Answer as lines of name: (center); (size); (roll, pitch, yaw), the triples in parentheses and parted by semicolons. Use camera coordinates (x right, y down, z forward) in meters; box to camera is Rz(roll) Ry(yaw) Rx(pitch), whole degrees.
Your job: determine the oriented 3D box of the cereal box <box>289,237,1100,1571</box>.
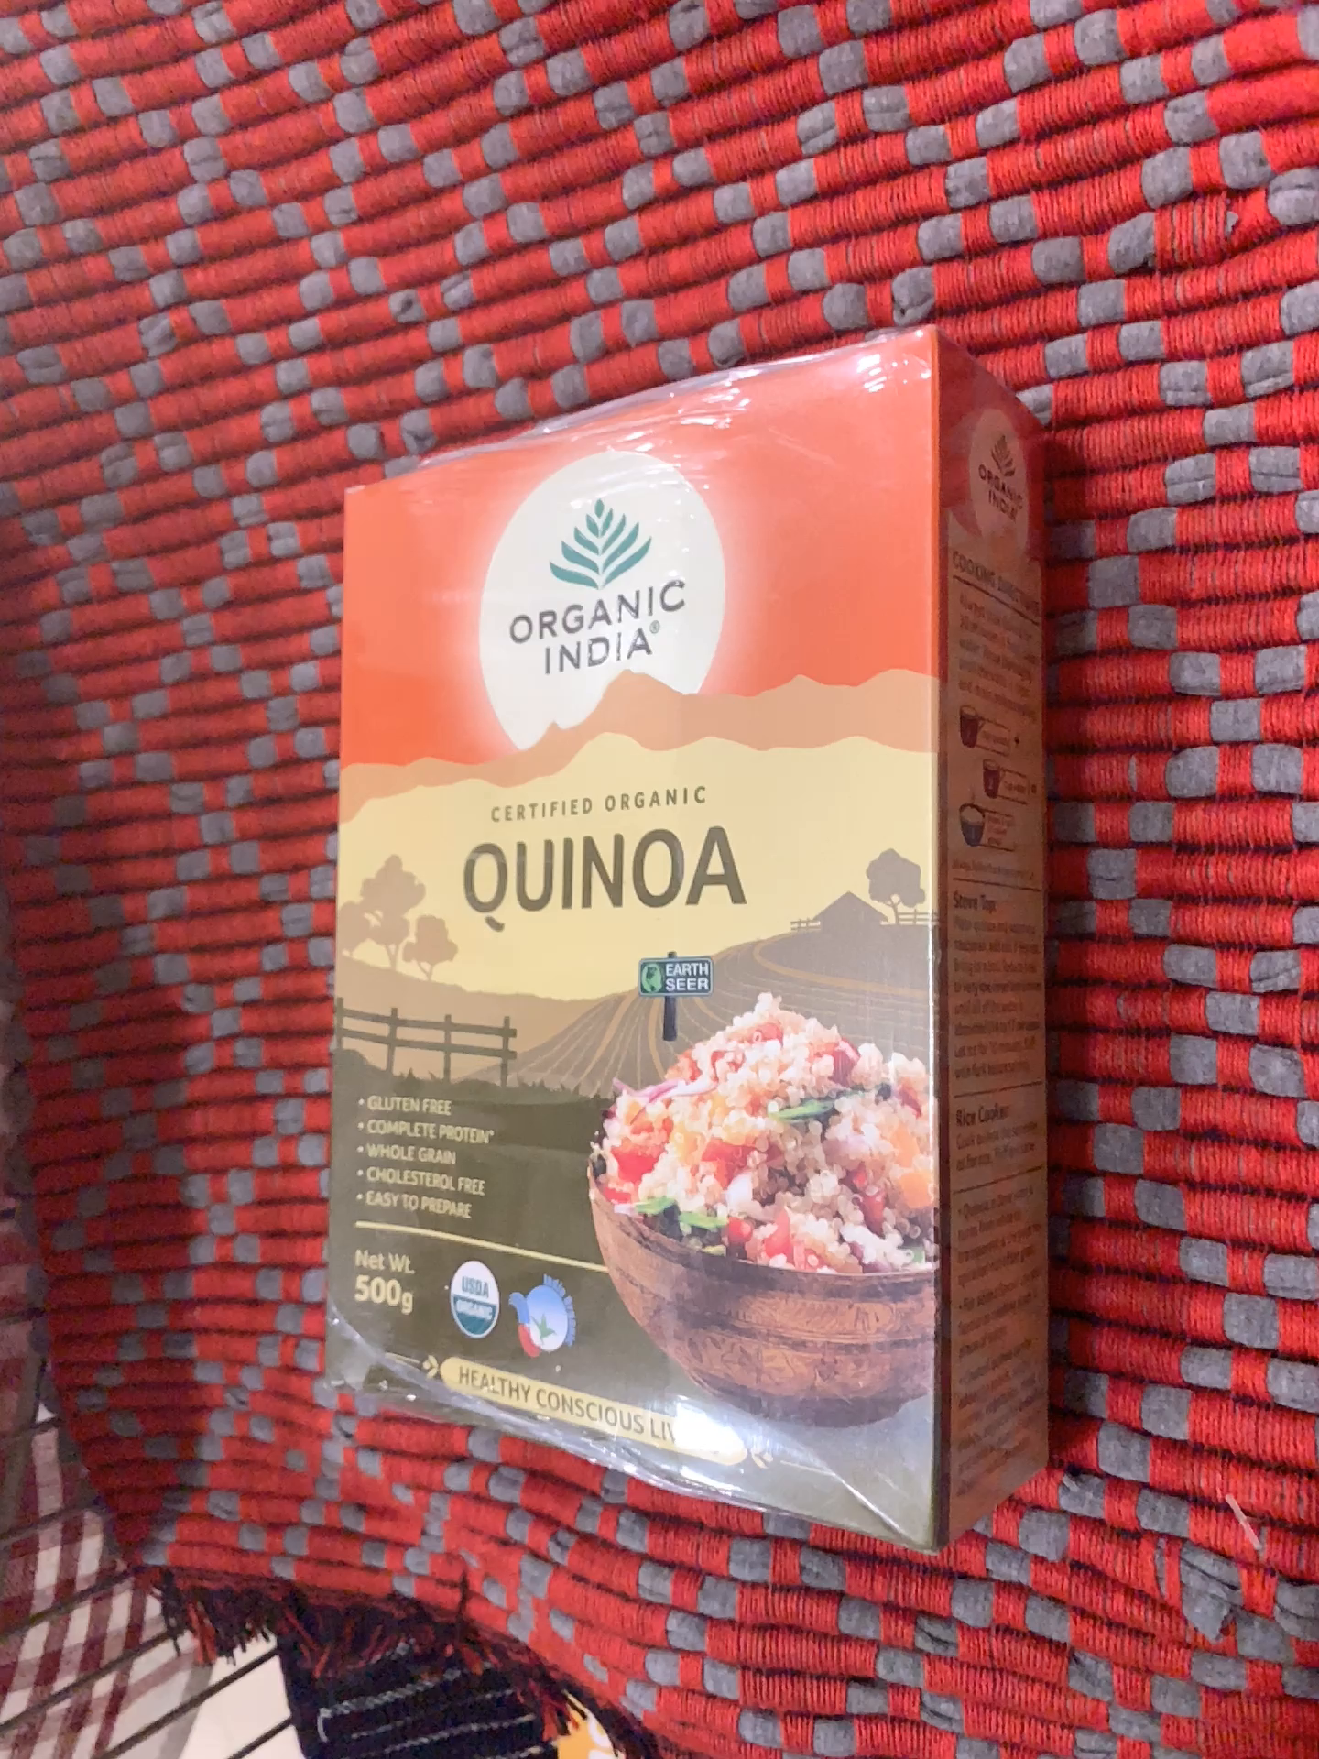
cereal box: (0.003, 0.004, 0.252); (0.131, 0.070, 0.180); (-2, 88, 36)
